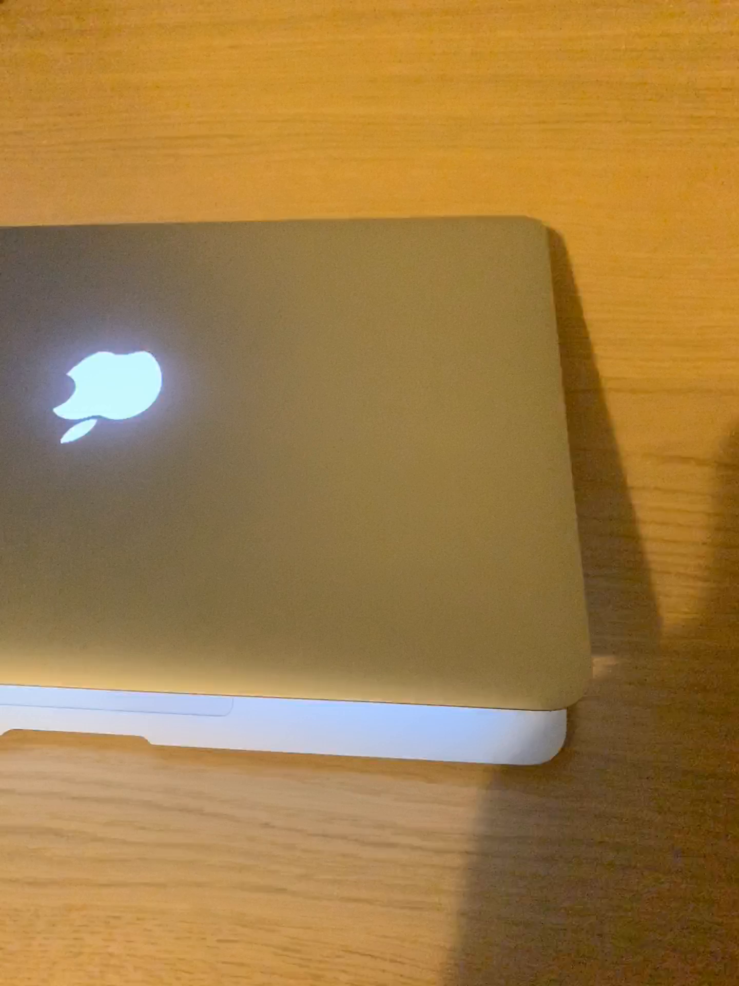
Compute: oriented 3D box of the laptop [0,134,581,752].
[{"bbox_3d":[-0.094,-0.031,0.284,0.320,0.048,0.218,1,62,7],"label":"laptop"}]
